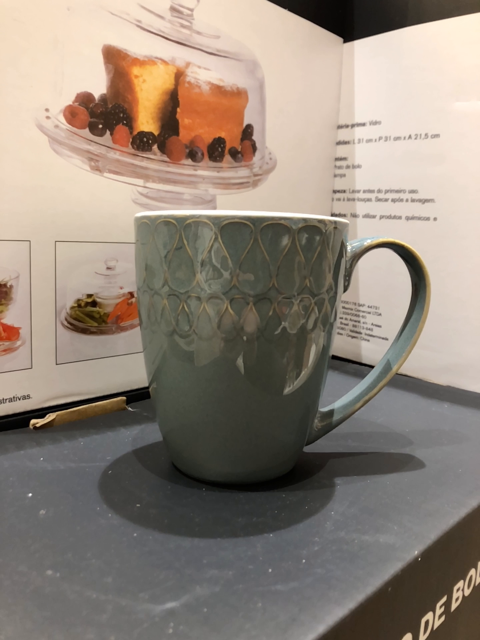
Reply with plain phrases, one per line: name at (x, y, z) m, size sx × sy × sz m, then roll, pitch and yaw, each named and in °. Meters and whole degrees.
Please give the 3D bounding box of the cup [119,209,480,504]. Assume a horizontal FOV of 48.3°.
cup at (0.019, 0.005, 0.242) m, size 0.130 × 0.100 × 0.090 m, roll -1°, pitch 10°, yaw -21°
